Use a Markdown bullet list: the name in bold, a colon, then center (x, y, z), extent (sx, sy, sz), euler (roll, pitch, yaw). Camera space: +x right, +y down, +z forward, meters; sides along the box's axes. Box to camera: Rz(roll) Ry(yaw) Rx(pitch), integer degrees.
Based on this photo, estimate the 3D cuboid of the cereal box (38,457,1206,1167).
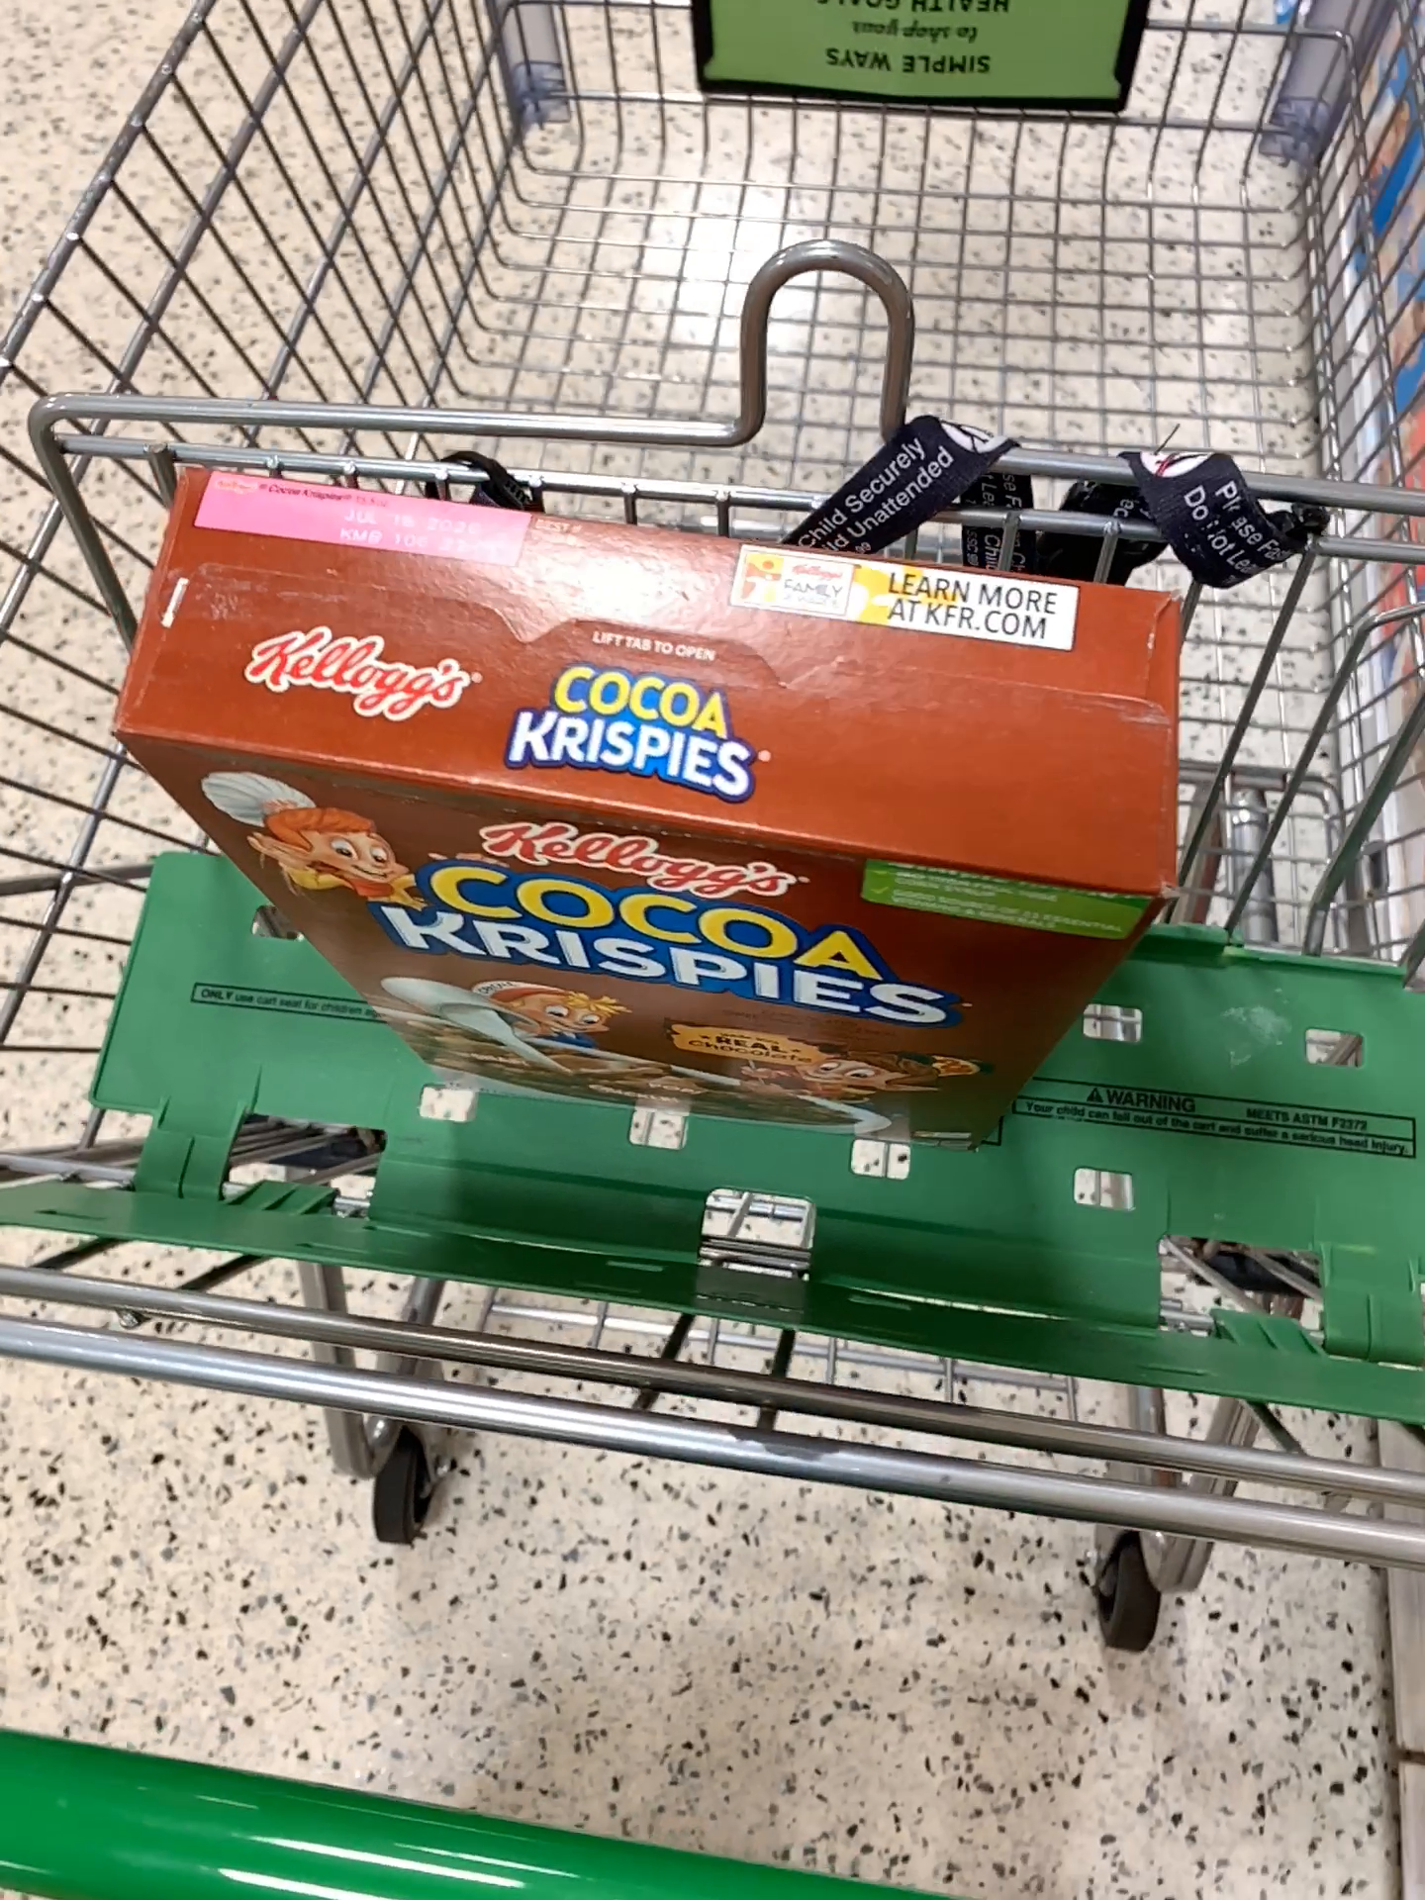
- **cereal box**: center (-0.007, -0.007, 0.407), extent (0.200, 0.309, 0.060), euler (8, 74, 6)
